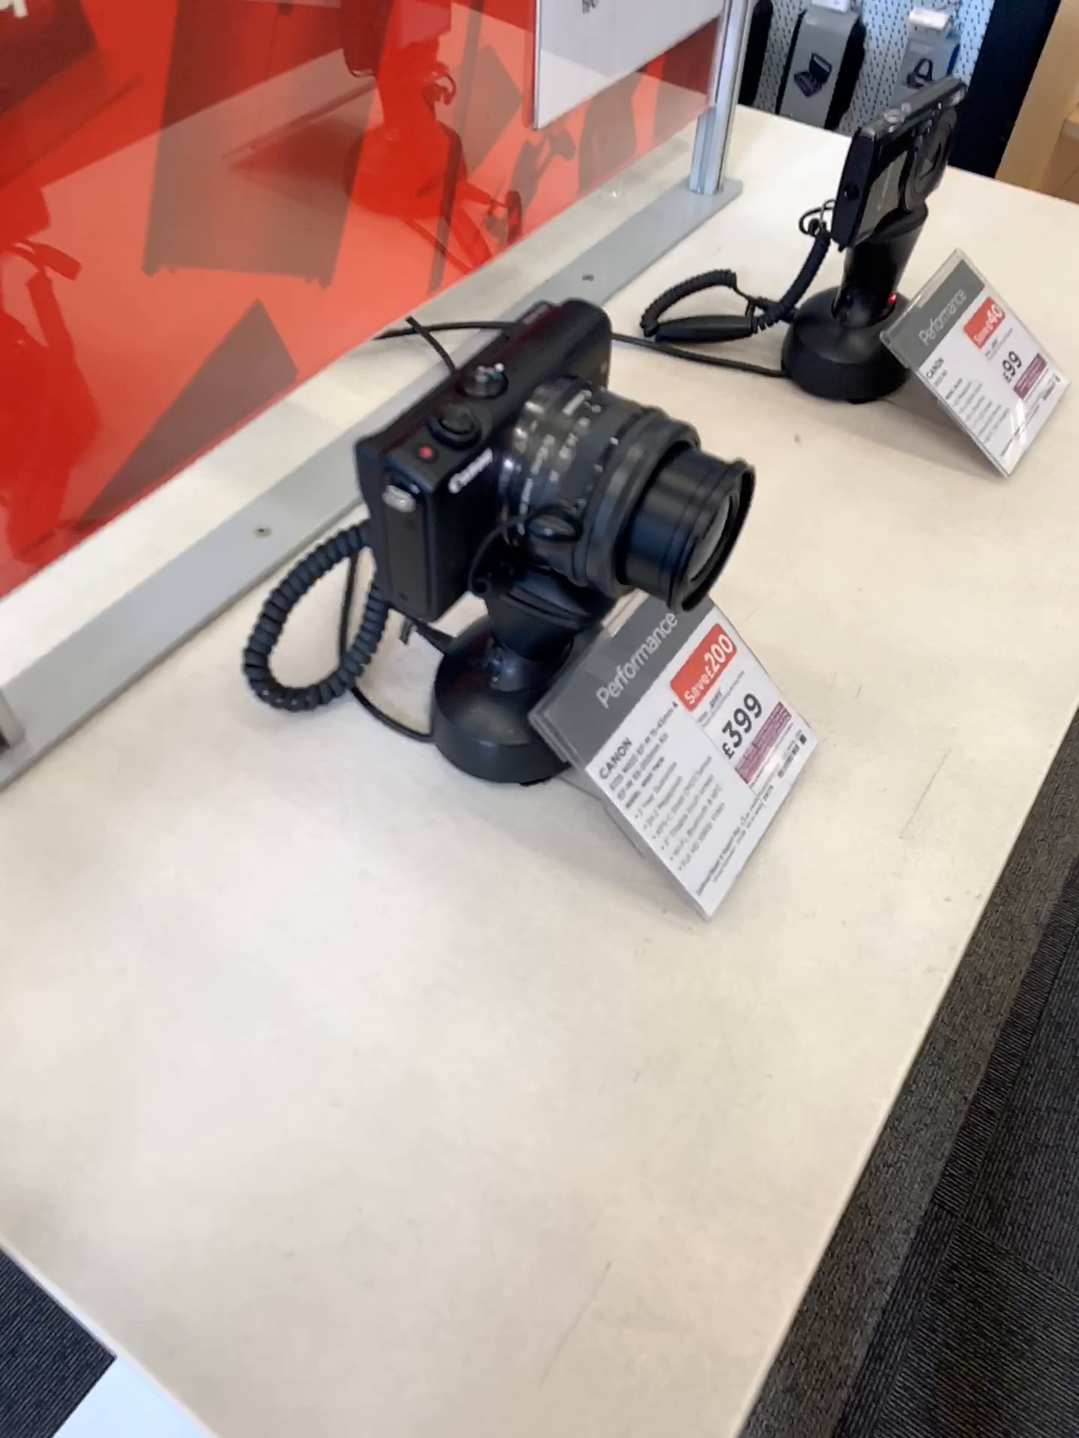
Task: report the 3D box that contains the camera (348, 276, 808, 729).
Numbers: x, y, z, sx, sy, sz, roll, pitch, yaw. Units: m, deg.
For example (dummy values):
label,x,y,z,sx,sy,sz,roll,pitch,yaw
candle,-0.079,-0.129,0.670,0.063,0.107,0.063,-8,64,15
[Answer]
label,x,y,z,sx,sy,sz,roll,pitch,yaw
camera,0.015,-0.079,0.373,0.100,0.069,0.121,26,53,18
